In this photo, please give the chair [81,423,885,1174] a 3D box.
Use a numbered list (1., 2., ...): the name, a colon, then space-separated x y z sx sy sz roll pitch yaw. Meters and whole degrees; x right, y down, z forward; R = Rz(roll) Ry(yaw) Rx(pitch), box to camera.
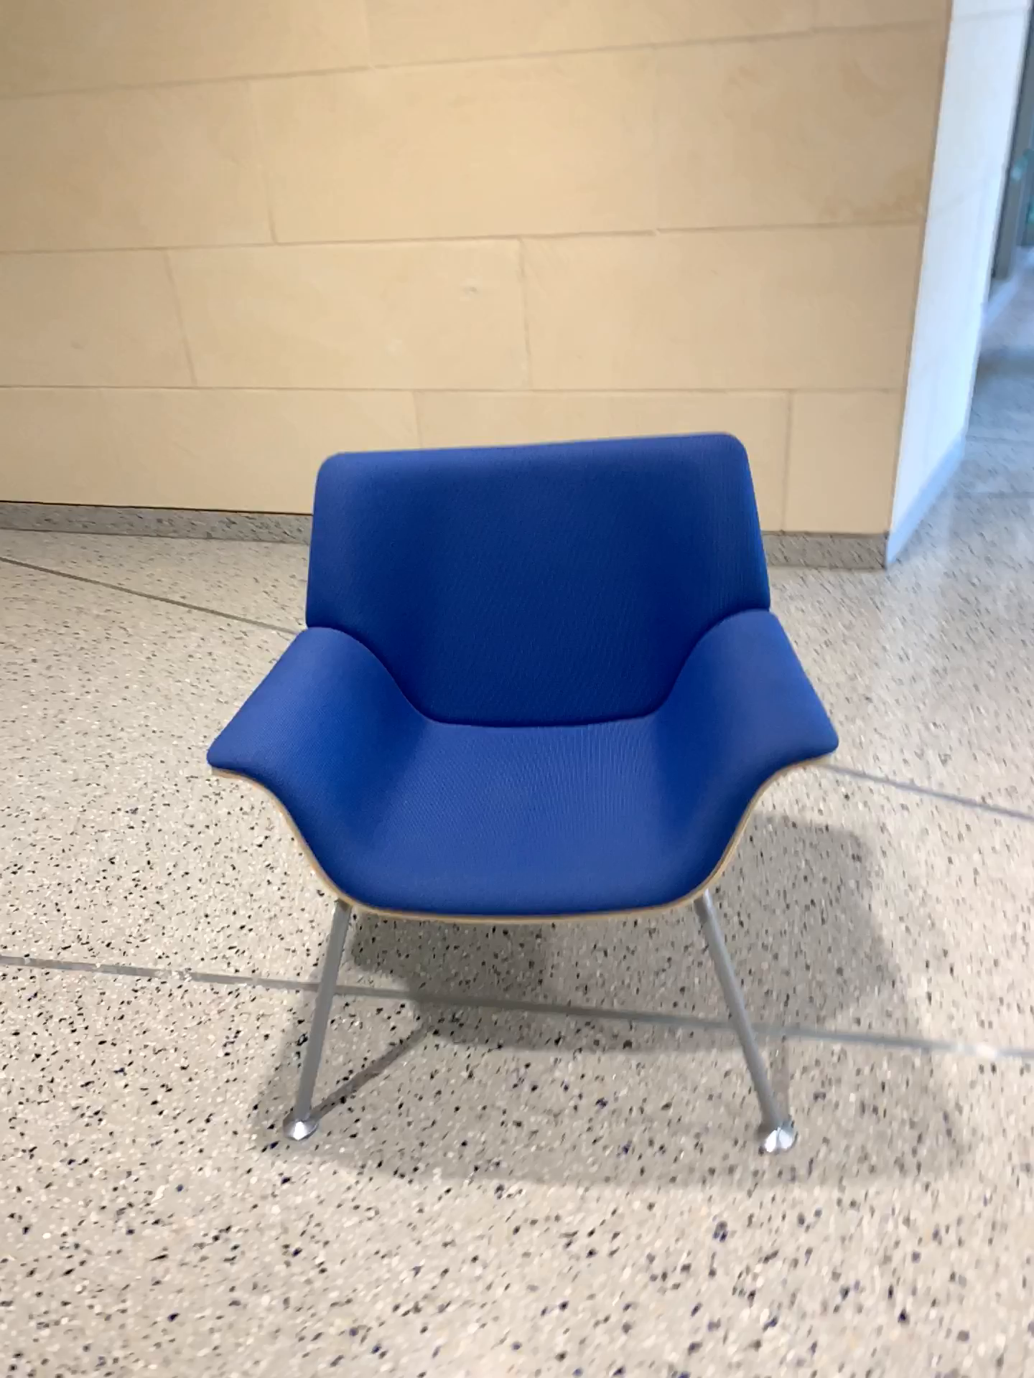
1. chair: 0.011 0.112 1.516 0.778 0.728 0.763 -1 32 7
